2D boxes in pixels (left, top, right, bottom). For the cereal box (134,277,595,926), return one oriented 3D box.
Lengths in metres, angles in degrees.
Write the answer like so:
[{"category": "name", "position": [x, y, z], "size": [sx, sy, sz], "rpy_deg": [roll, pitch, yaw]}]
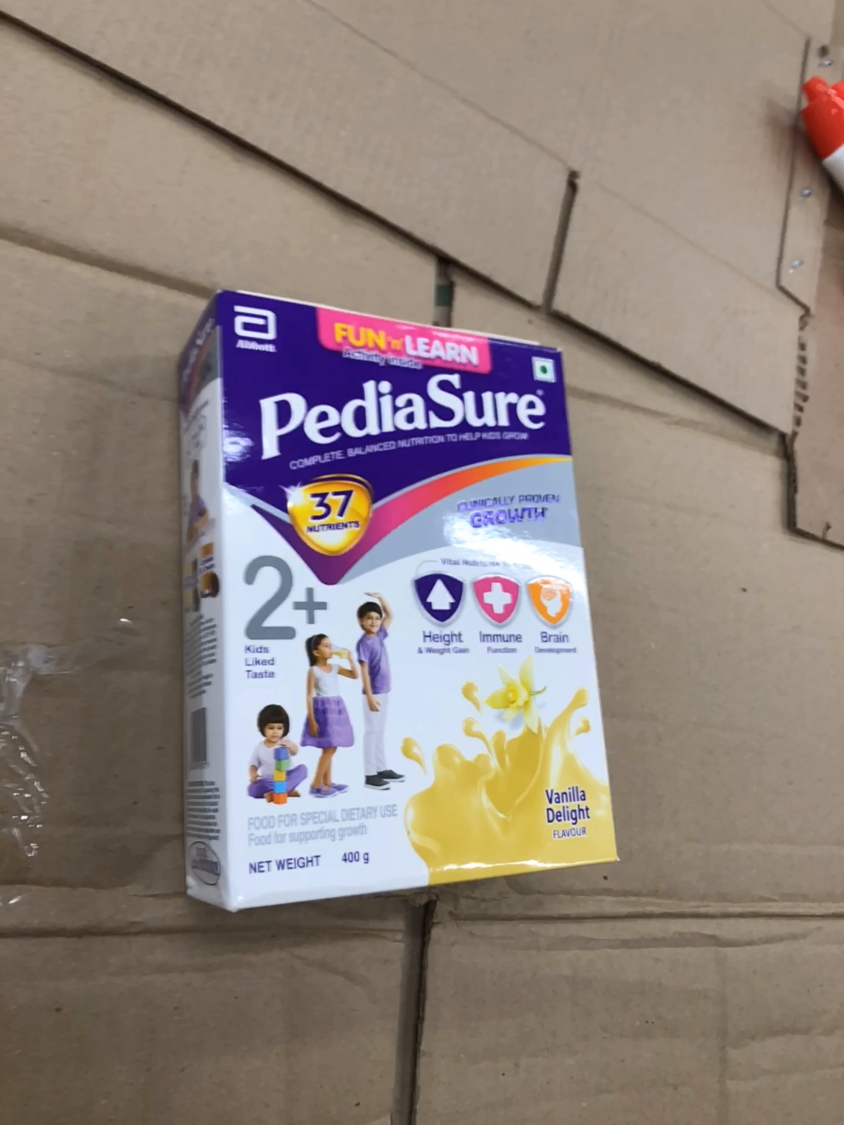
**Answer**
[{"category": "cereal box", "position": [-0.022, 0.013, 0.323], "size": [0.141, 0.050, 0.190], "rpy_deg": [3, 75, -27]}]
